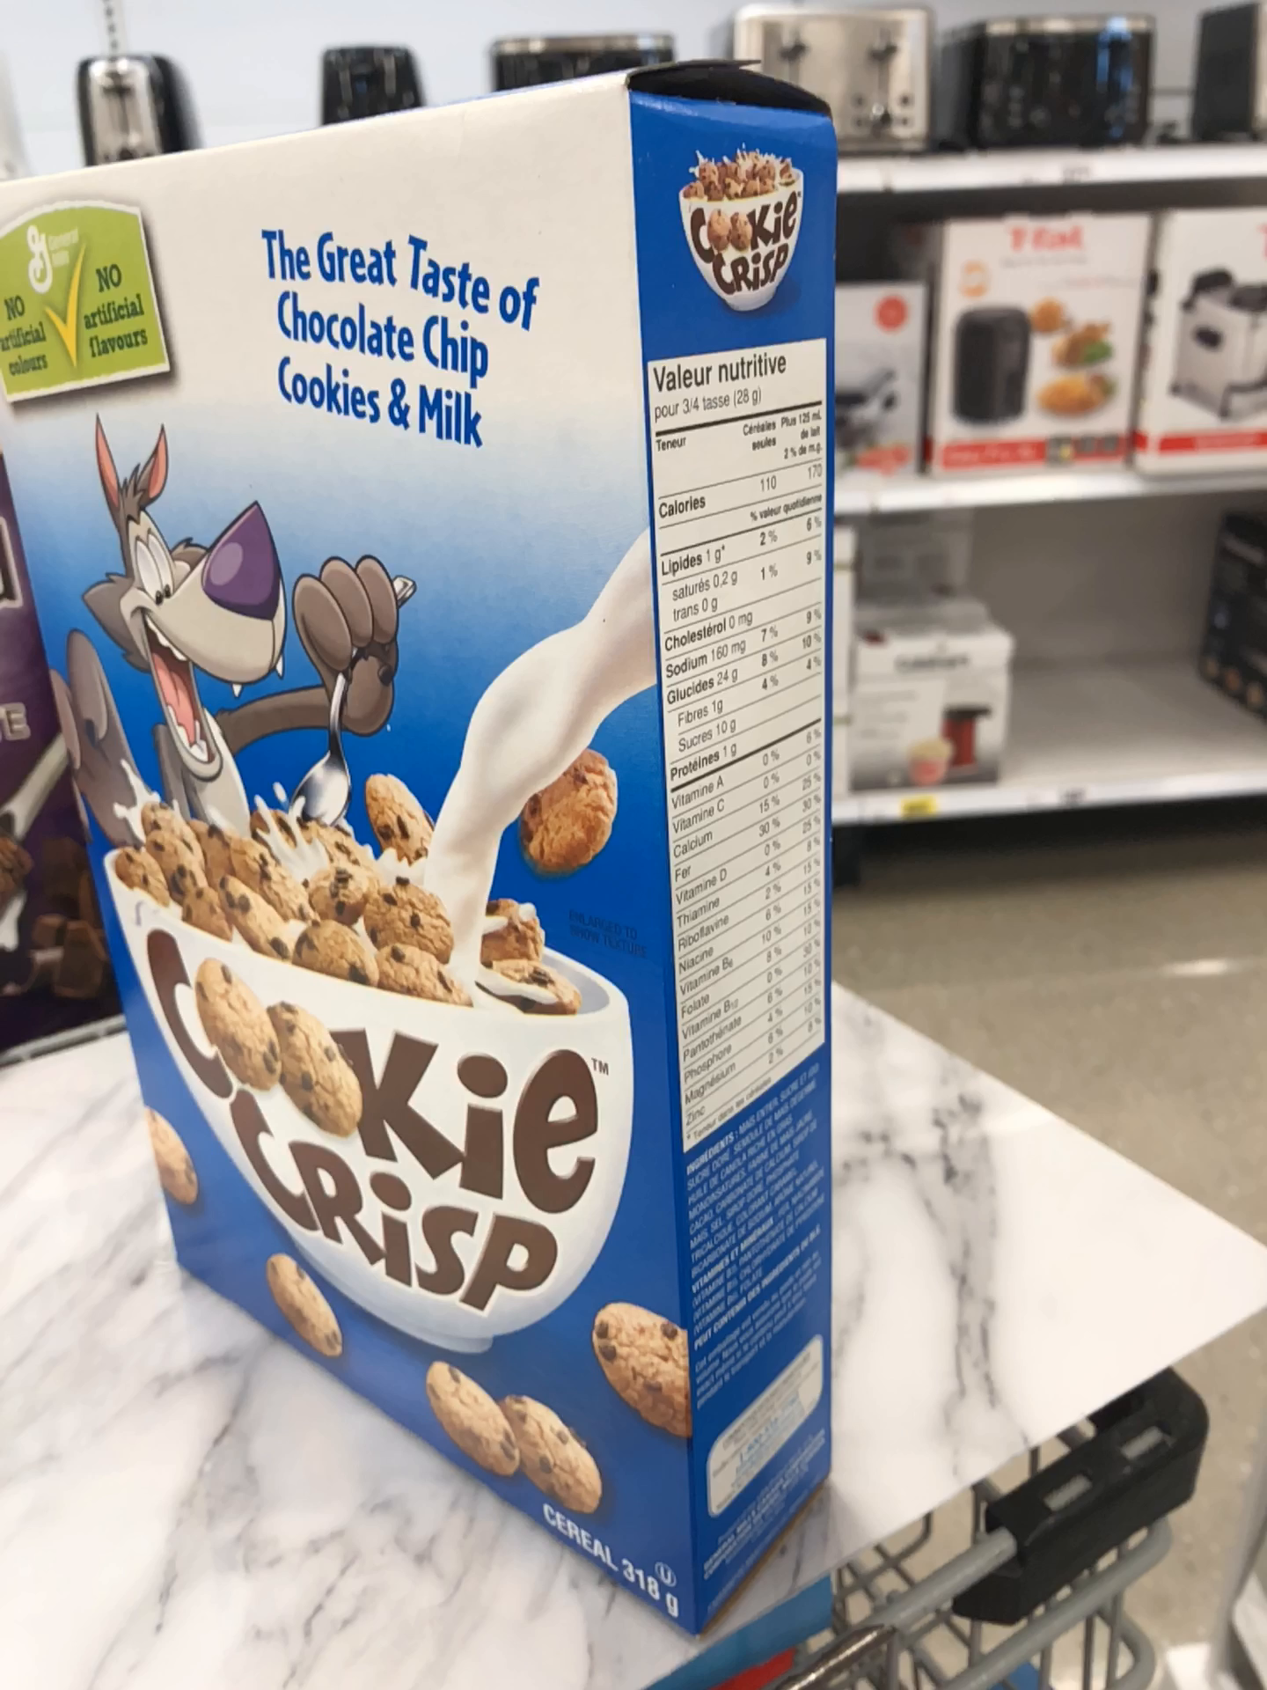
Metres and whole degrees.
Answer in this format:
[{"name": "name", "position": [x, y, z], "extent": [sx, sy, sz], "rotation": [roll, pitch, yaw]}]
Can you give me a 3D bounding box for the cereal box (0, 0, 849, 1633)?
[{"name": "cereal box", "position": [-0.060, -0.010, 0.296], "extent": [0.210, 0.269, 0.050], "rotation": [15, 27, 38]}]
